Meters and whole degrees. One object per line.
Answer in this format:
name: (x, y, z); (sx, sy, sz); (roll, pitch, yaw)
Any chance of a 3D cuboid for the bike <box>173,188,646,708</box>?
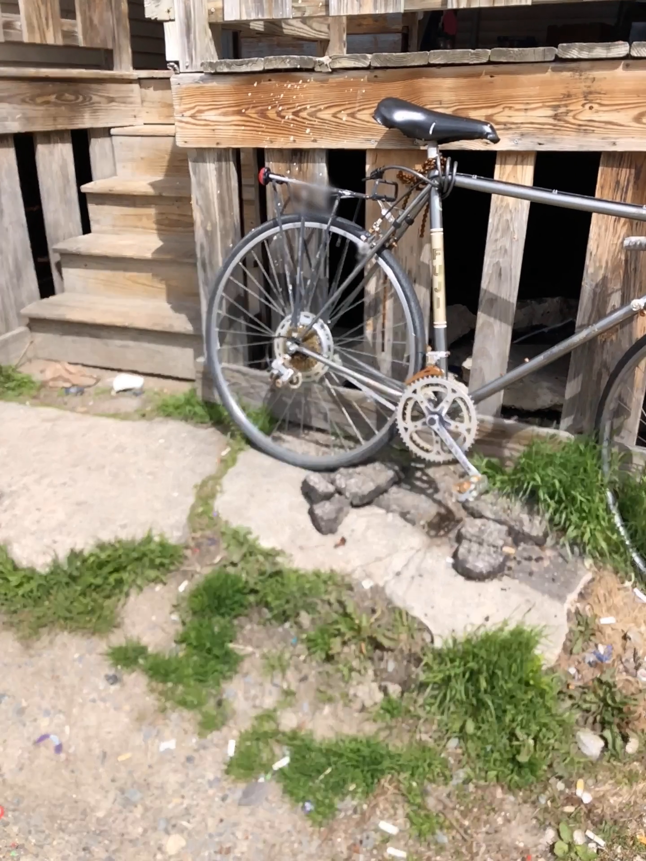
bike: (0.279, -0.117, 1.272); (1.202, 0.478, 0.400); (19, 30, 35)
